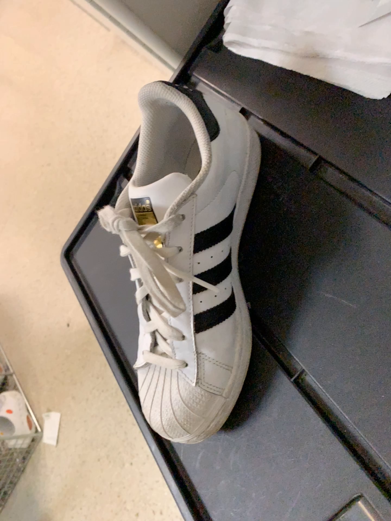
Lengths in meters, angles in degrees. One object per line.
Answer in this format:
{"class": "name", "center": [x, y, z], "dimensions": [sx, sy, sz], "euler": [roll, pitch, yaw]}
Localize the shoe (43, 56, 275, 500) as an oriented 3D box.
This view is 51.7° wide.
{"class": "shoe", "center": [-0.024, 0.008, 0.287], "dimensions": [0.104, 0.092, 0.242], "euler": [4, 86, 41]}
